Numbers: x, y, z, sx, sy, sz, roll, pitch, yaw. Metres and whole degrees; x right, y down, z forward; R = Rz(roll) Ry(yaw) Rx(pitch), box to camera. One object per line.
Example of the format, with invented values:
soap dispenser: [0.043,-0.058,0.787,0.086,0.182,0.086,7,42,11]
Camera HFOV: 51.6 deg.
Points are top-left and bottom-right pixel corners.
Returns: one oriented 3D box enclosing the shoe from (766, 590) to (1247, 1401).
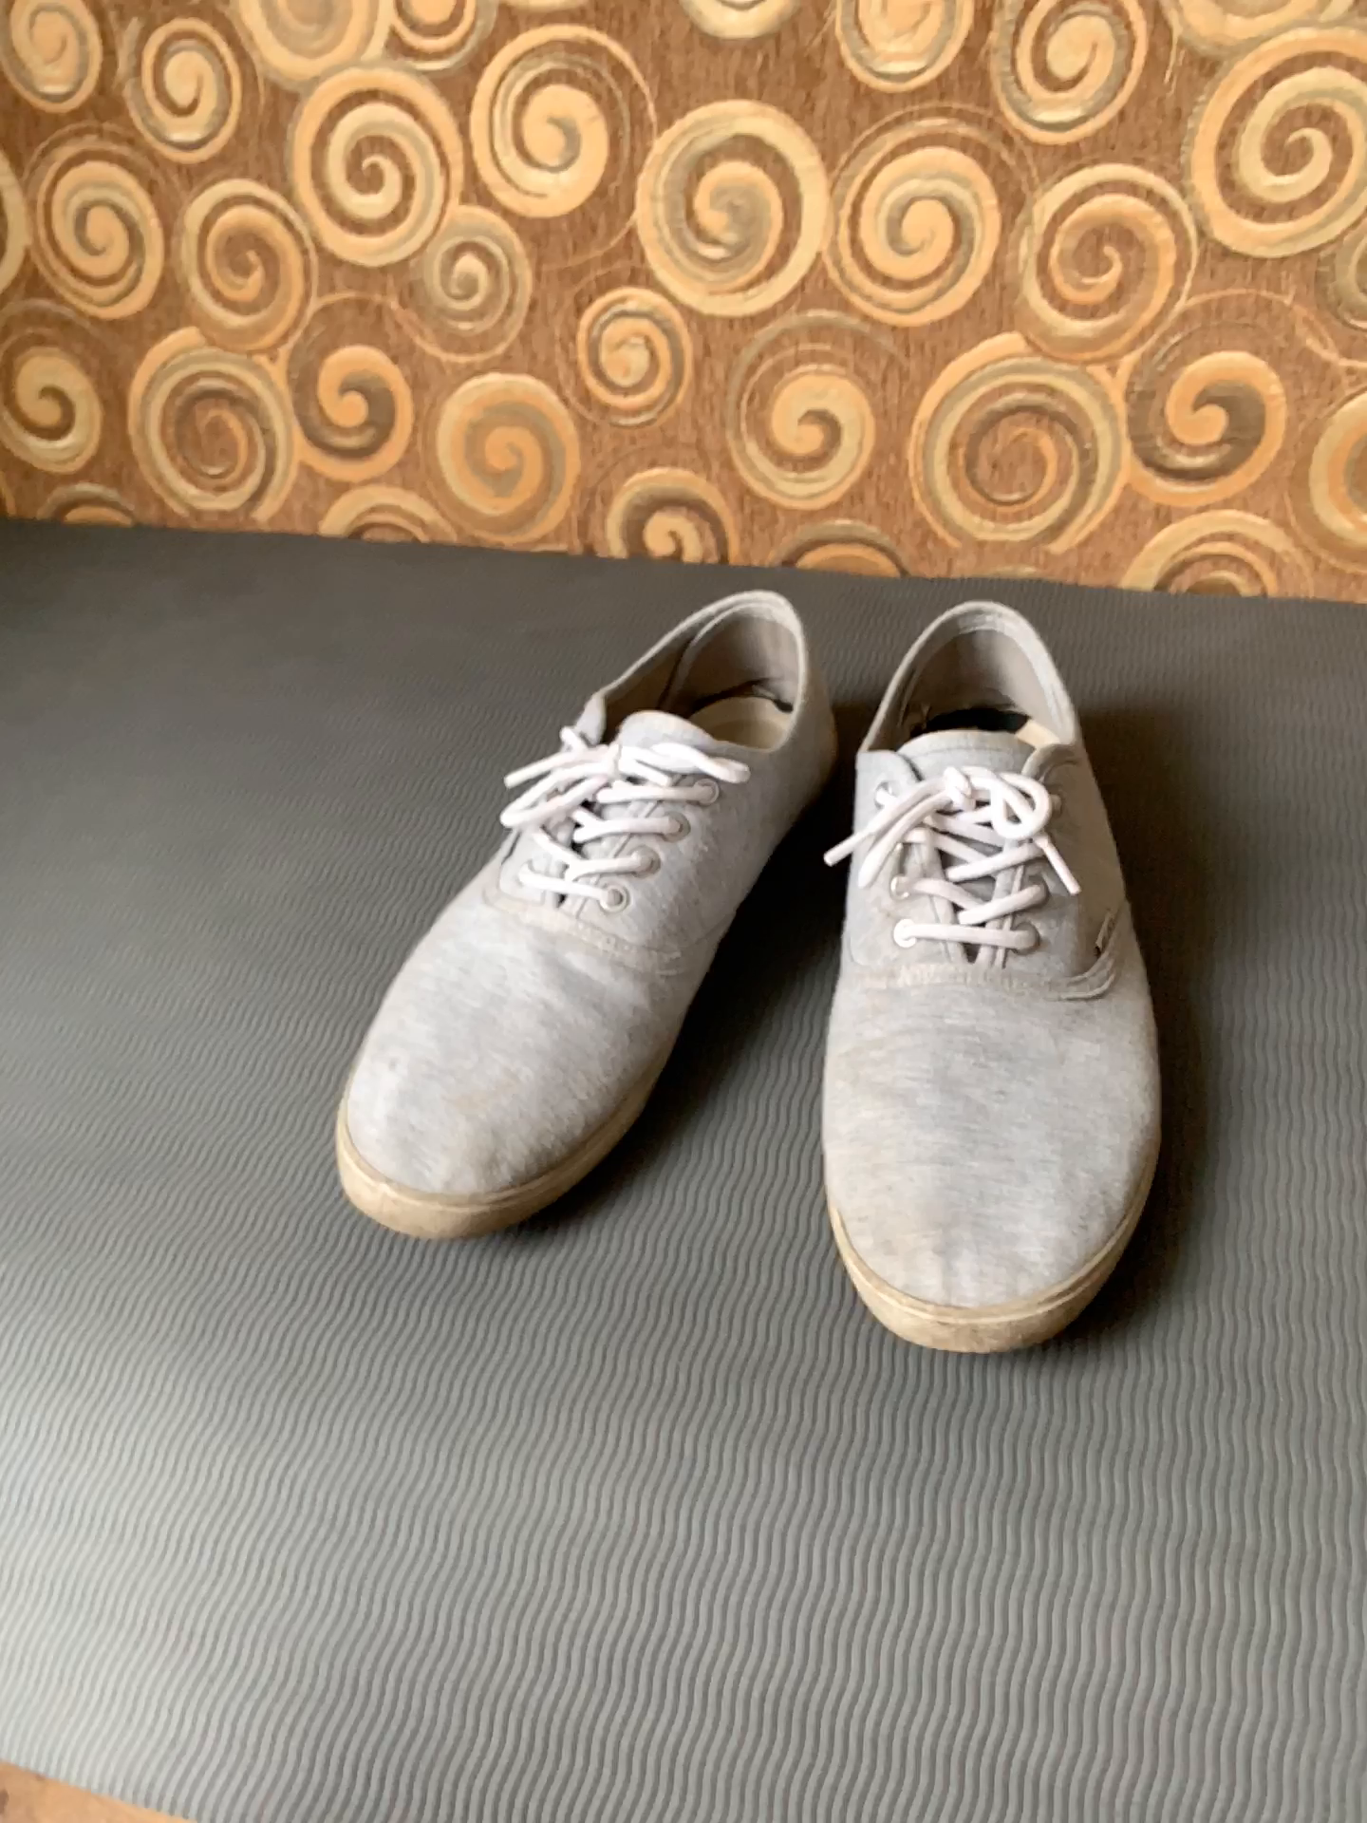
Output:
shoe: [0.094,0.007,0.447,0.110,0.080,0.261,2,47,9]

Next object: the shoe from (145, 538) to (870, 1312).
shoe: [-0.039,-0.014,0.478,0.110,0.080,0.261,18,51,22]
